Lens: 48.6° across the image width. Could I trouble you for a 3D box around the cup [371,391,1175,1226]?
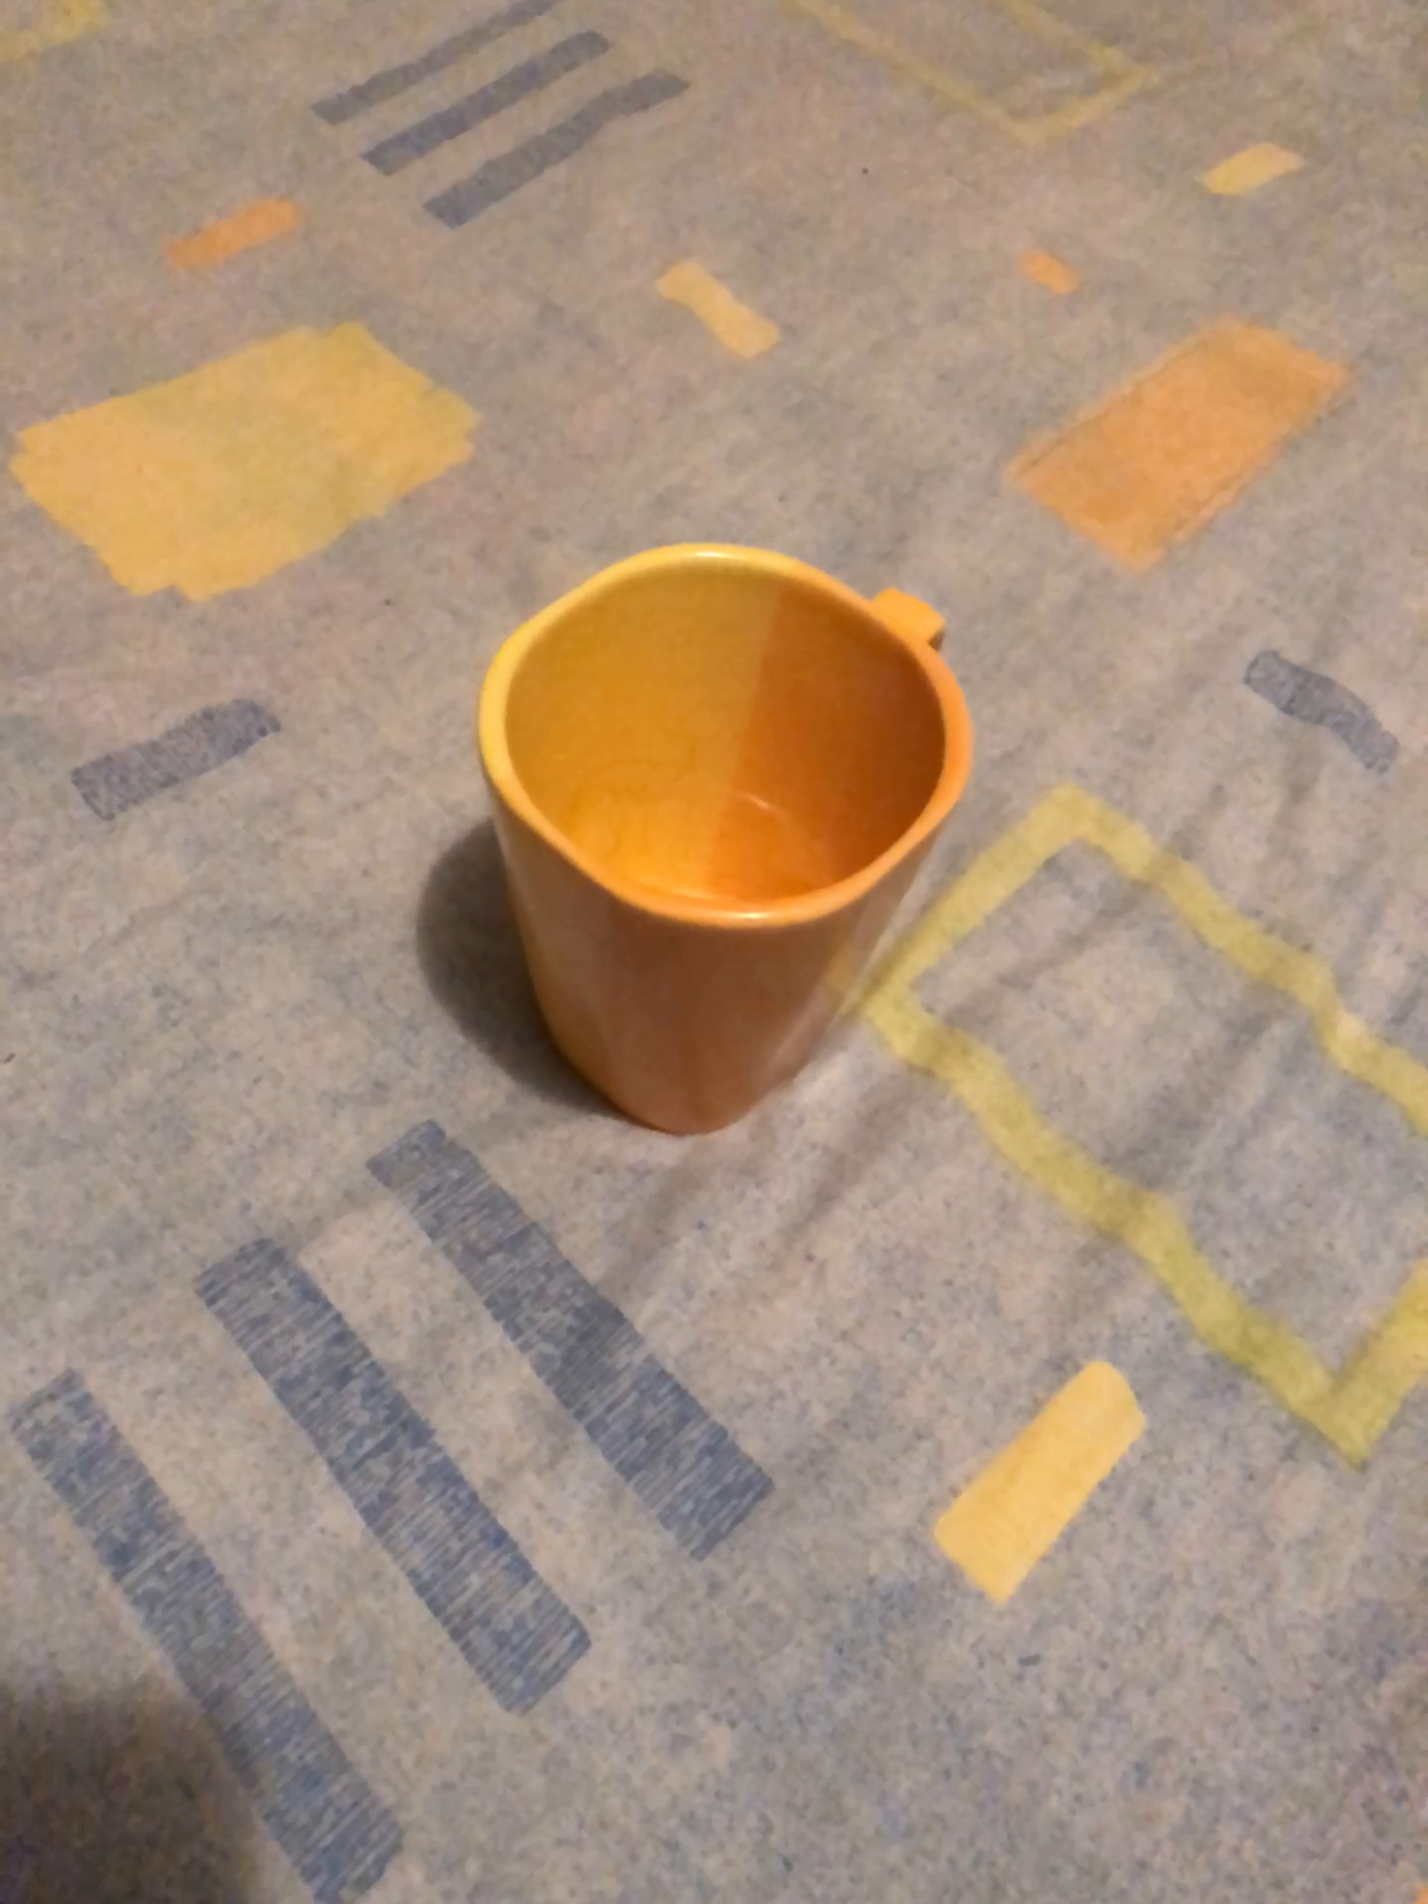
[{"bbox_3d":[0.009,-0.028,0.302,0.084,0.082,0.111,40,62,18],"label":"cup"}]
